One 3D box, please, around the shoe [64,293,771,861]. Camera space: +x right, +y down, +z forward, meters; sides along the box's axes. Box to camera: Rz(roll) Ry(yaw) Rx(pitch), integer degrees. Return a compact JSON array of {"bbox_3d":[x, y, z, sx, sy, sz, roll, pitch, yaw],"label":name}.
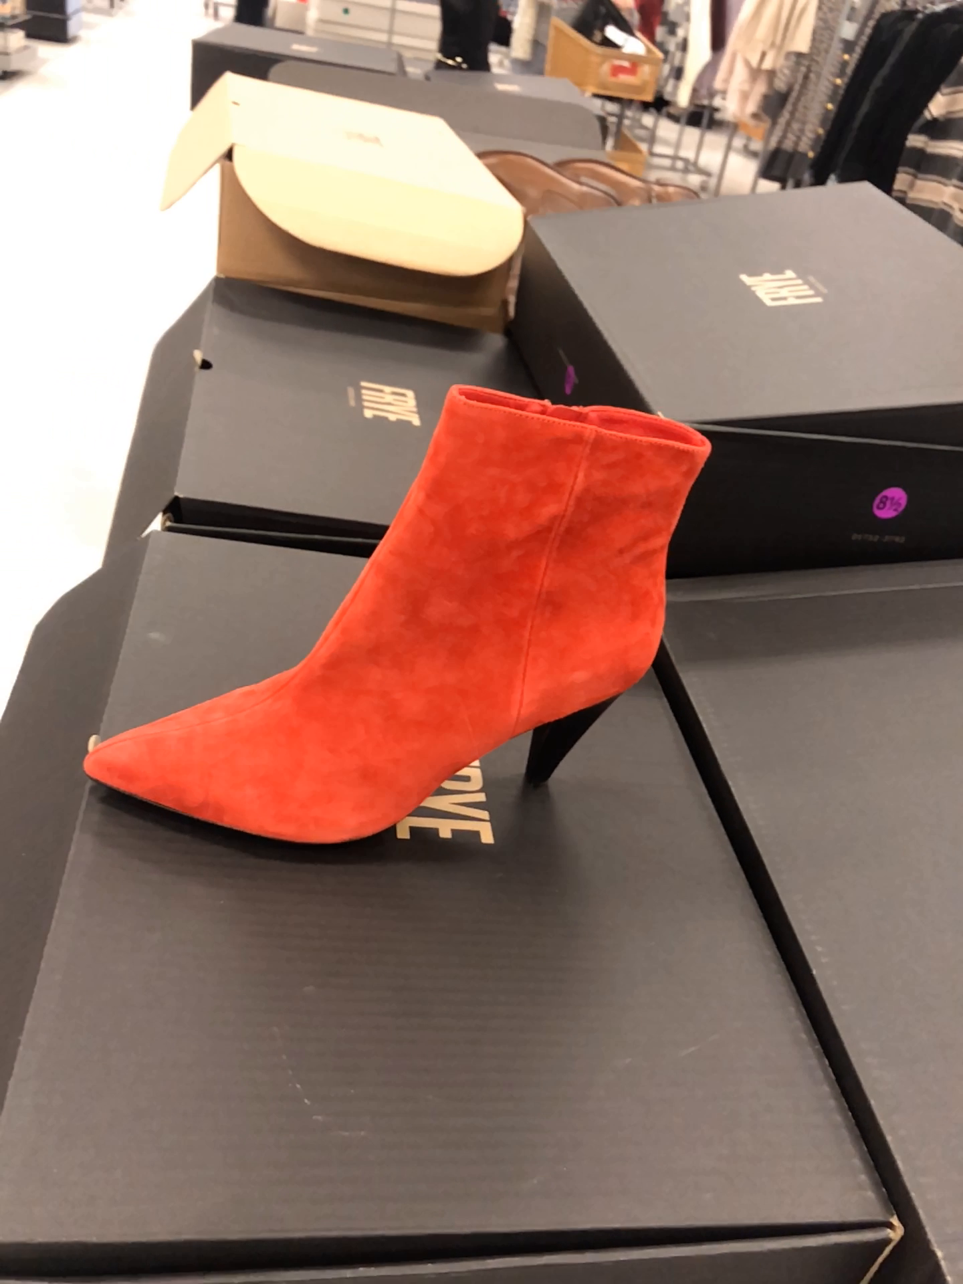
[{"bbox_3d":[-0.042,-0.016,0.489,0.261,0.210,0.101,6,33,-18],"label":"shoe"}]
